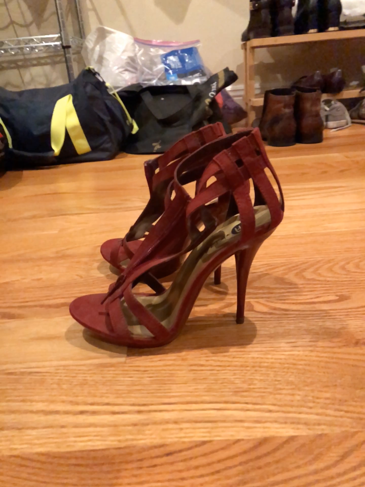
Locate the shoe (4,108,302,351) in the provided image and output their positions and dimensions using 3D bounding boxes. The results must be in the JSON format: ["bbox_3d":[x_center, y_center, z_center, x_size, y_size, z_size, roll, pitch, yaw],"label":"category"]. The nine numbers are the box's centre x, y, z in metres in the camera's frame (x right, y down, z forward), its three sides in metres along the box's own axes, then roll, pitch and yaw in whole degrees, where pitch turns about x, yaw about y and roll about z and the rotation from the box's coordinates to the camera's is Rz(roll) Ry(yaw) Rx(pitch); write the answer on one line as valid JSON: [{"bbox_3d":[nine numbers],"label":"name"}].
[{"bbox_3d":[-0.015,-0.013,0.349,0.206,0.175,0.085,-5,22,1],"label":"shoe"}]

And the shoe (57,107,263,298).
[{"bbox_3d":[-0.019,-0.053,0.452,0.199,0.175,0.085,7,25,26],"label":"shoe"}]
